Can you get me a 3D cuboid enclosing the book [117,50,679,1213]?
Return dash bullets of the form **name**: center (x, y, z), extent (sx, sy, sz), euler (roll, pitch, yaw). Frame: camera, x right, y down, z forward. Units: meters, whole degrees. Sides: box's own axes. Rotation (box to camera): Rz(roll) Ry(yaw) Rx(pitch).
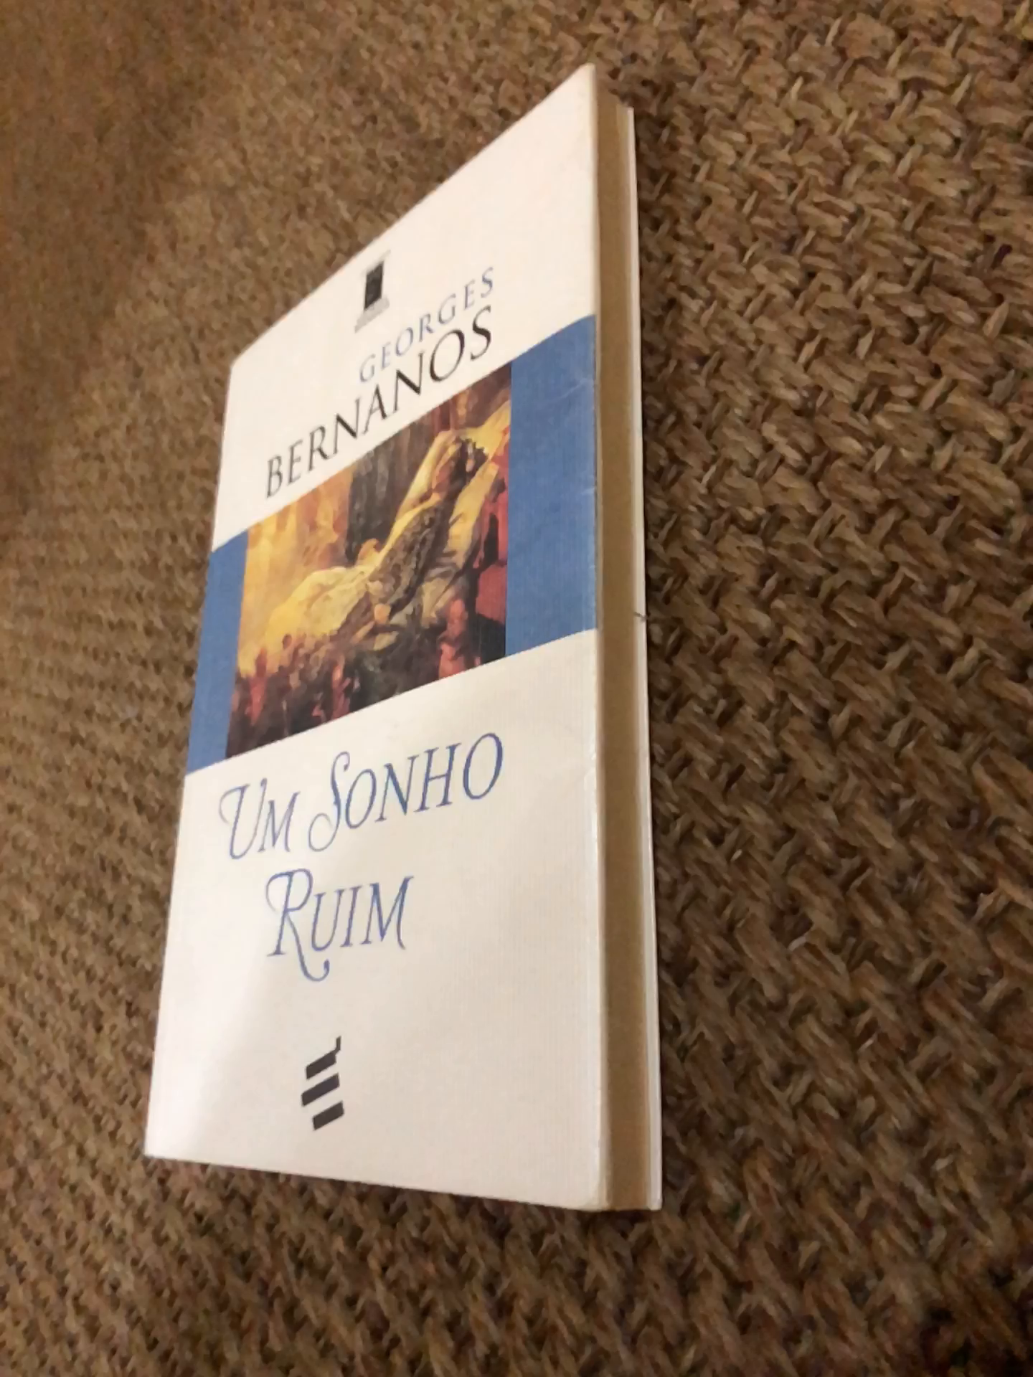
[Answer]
- **book**: center (-0.030, -0.007, 0.239), extent (0.141, 0.020, 0.199), euler (-19, 63, 45)
